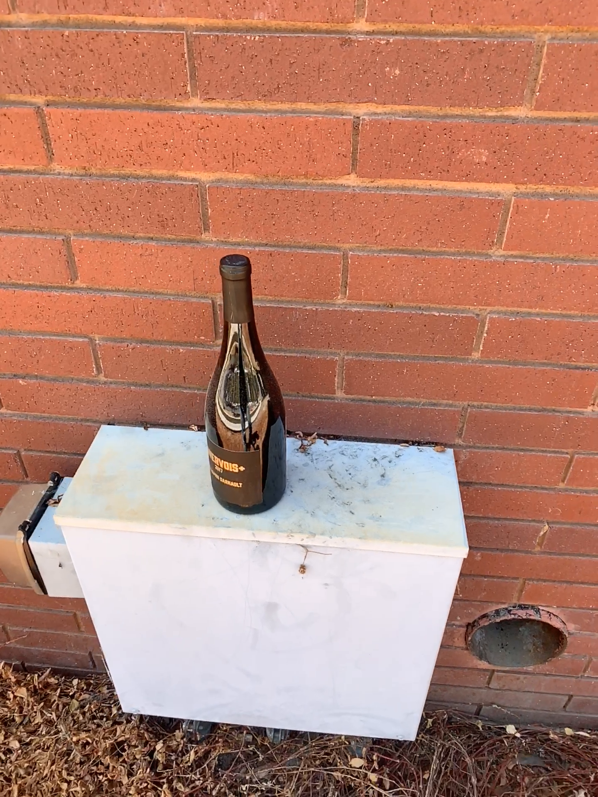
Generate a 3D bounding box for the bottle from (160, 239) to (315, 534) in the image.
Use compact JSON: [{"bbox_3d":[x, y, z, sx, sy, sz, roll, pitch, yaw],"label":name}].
[{"bbox_3d":[-0.054,-0.005,0.613,0.100,0.268,0.090,26,44,29],"label":"bottle"}]
